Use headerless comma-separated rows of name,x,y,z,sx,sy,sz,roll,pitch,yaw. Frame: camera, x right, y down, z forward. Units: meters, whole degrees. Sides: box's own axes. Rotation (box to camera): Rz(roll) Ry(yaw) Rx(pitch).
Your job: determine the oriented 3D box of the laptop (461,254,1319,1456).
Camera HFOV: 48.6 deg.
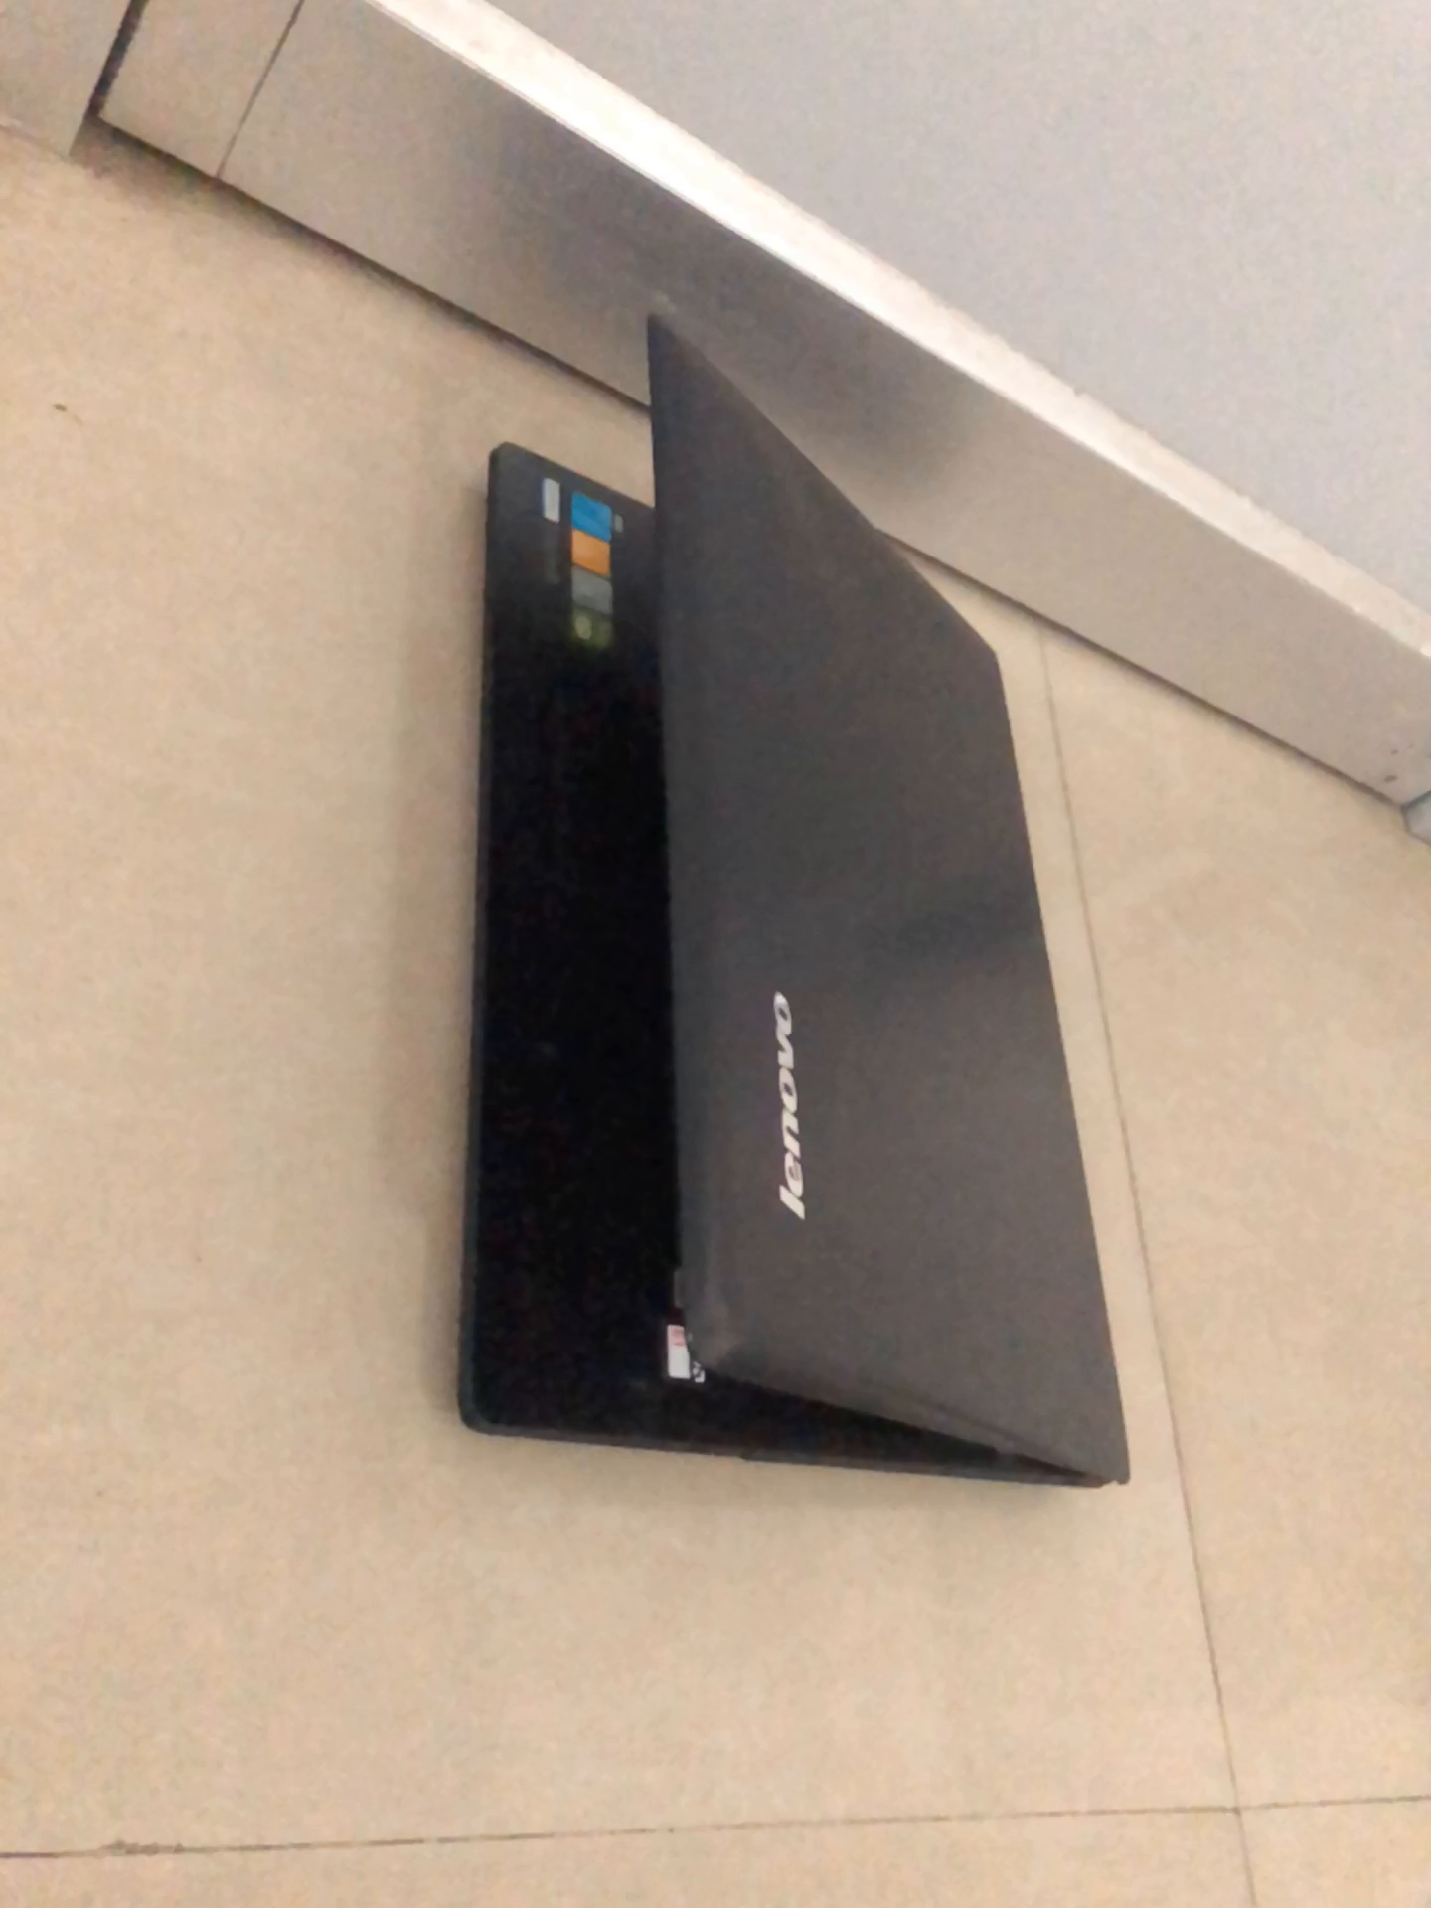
laptop,0.052,-0.027,0.555,0.258,0.097,0.368,16,56,-34
